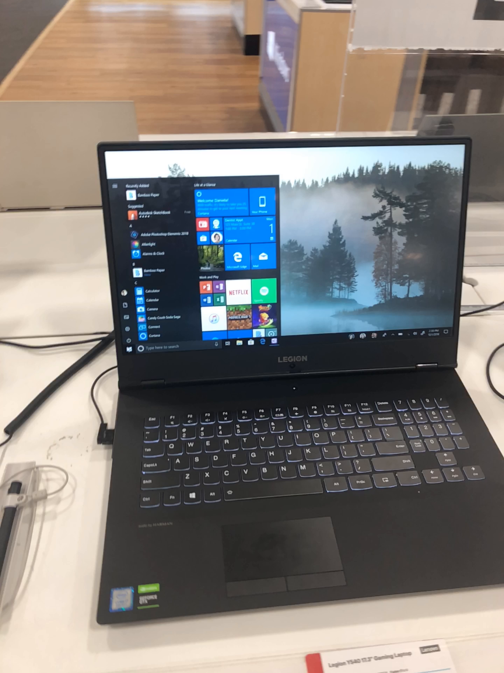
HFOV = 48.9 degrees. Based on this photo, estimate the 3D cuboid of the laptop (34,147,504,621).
[{"bbox_3d":[0.055,0.009,0.515,0.382,0.241,0.359,-3,39,-7],"label":"laptop"}]
